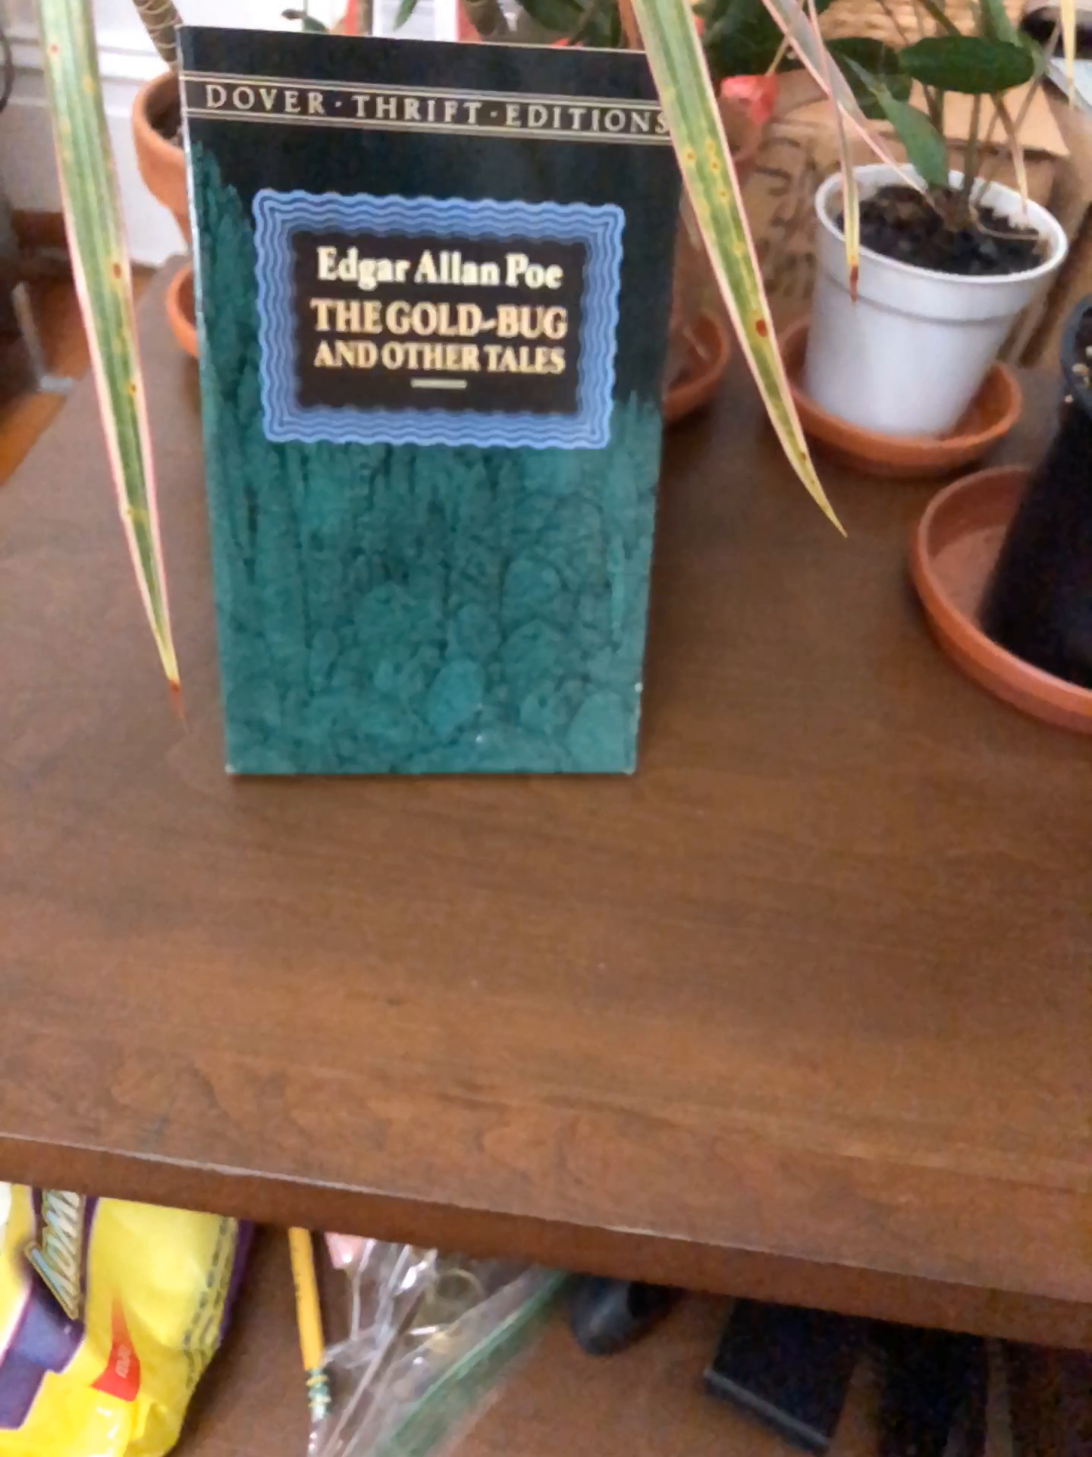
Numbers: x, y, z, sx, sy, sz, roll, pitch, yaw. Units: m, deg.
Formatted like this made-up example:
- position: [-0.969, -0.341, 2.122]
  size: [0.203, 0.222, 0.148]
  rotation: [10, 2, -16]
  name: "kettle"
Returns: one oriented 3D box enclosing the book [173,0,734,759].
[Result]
- position: [-0.027, -0.090, 0.358]
  size: [0.140, 0.209, 0.020]
  rotation: [0, 24, -6]
  name: "book"
